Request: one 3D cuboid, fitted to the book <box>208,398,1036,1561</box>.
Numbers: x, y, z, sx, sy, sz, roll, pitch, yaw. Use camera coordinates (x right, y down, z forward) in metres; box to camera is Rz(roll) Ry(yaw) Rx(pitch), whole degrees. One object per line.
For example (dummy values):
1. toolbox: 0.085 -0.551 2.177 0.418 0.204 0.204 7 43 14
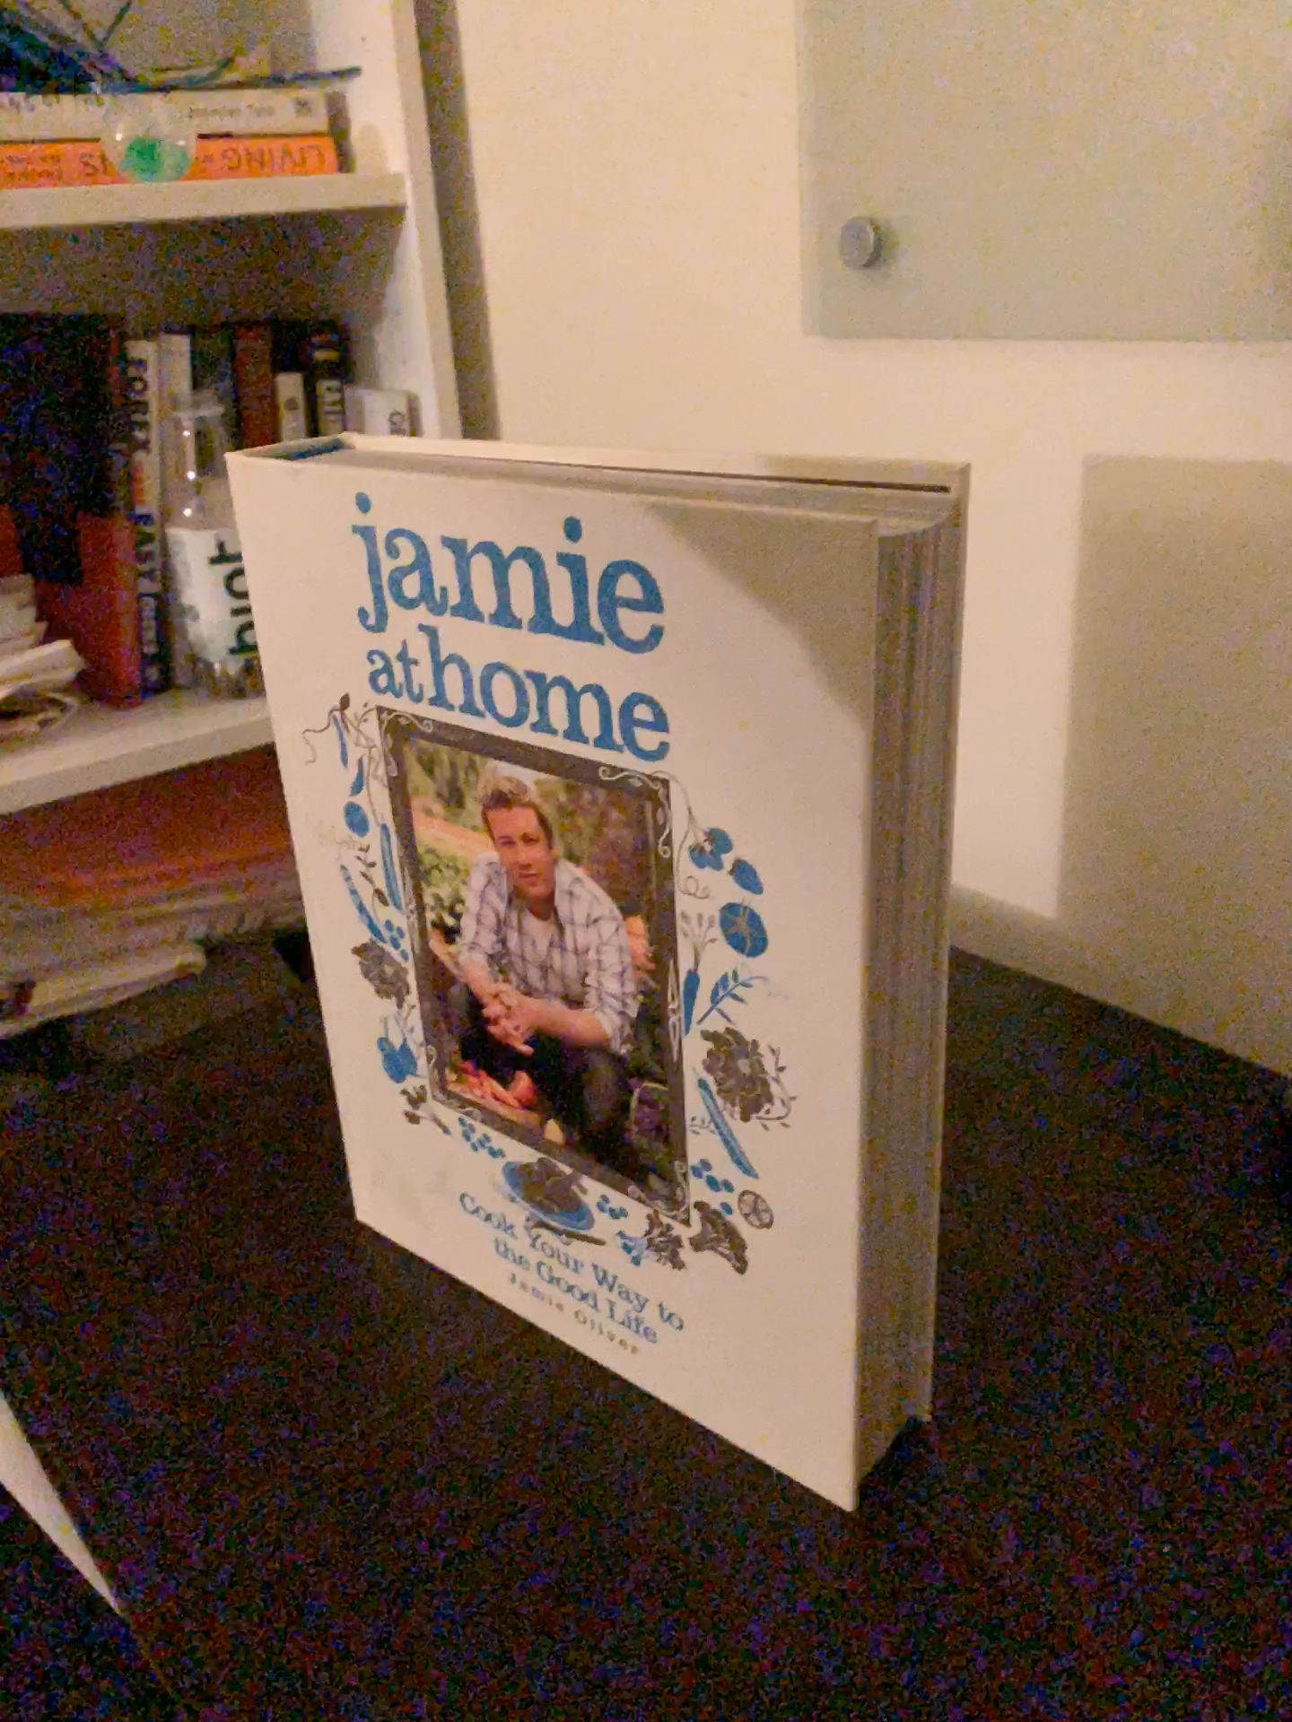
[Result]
1. book: -0.012 0.021 0.362 0.211 0.268 0.050 17 31 38
